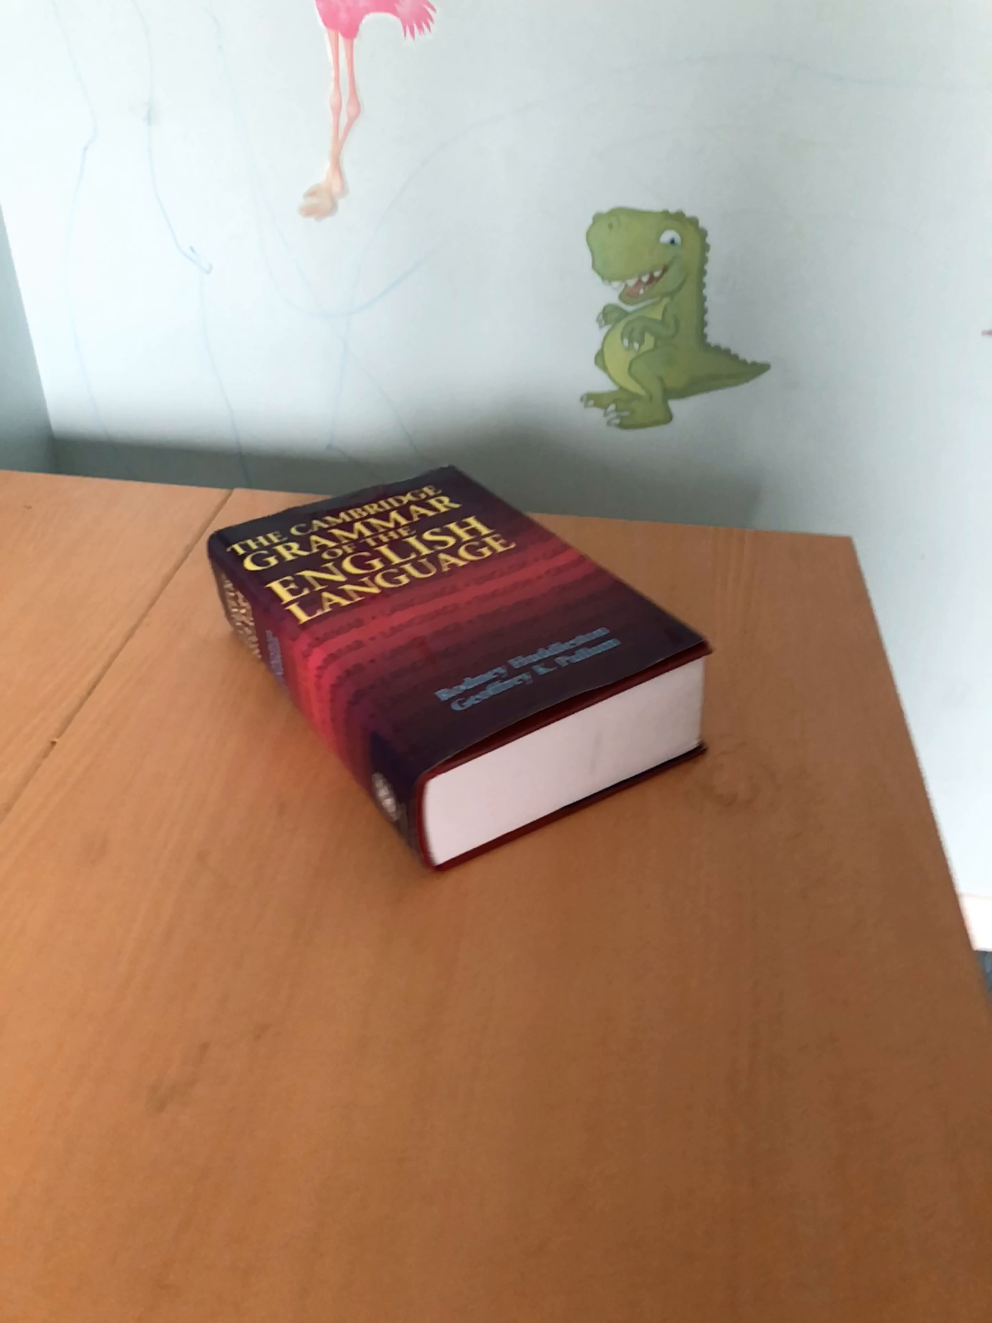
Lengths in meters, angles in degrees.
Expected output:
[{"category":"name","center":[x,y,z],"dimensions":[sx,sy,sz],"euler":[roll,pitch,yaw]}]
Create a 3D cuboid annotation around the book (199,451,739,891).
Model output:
[{"category":"book","center":[-0.026,-0.016,0.633],"dimensions":[0.195,0.070,0.261],"euler":[-21,43,-26]}]
